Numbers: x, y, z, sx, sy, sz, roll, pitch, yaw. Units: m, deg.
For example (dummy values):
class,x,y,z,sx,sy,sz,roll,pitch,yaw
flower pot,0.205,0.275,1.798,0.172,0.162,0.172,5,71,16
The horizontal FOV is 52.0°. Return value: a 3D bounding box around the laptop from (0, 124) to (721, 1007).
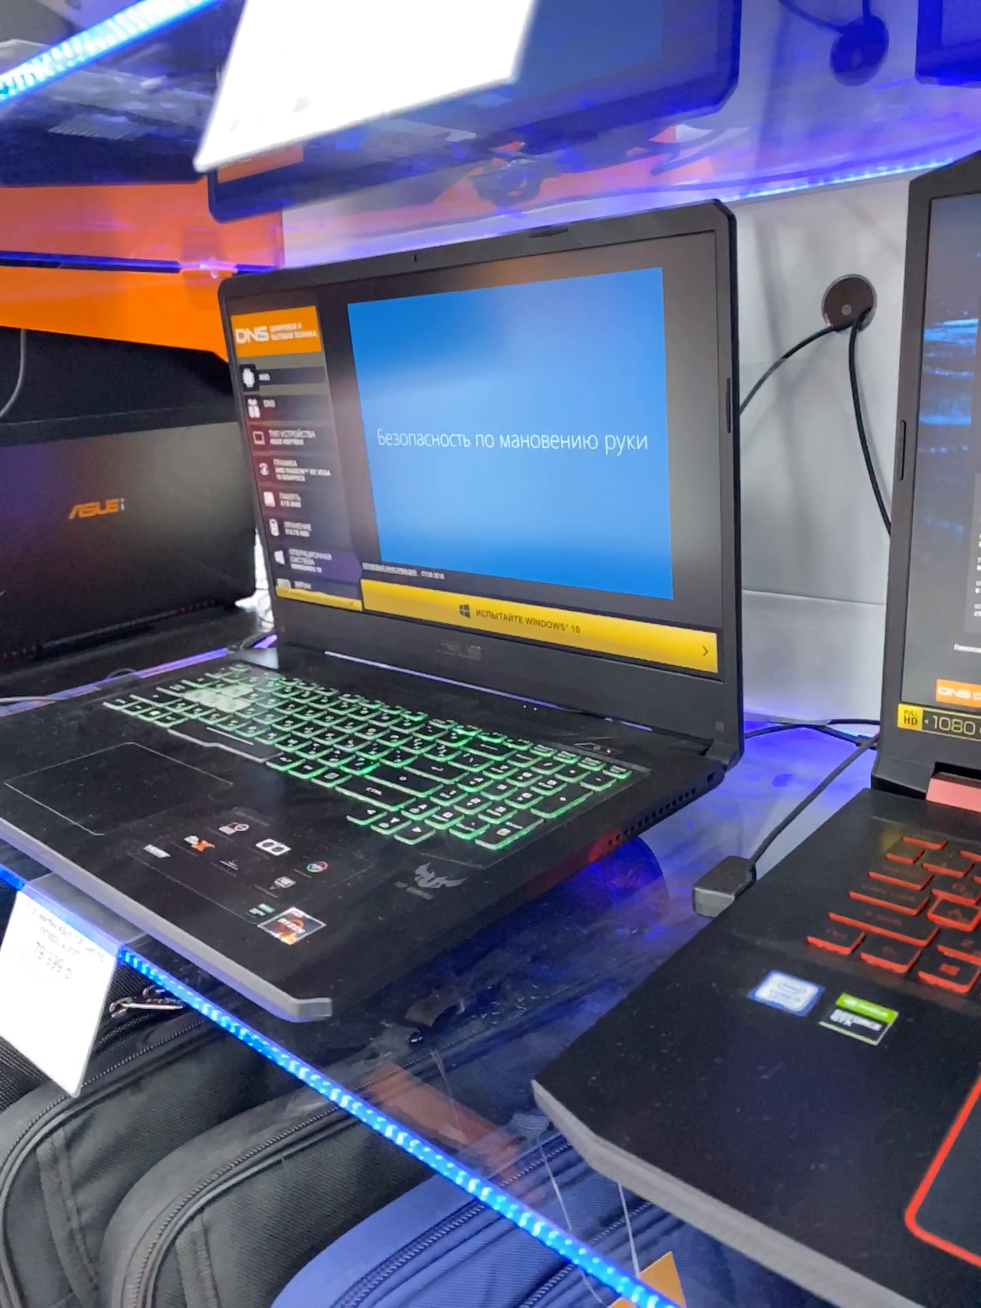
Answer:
class,x,y,z,sx,sy,sz,roll,pitch,yaw
laptop,-0.123,-0.071,0.526,0.398,0.265,0.269,10,20,41
